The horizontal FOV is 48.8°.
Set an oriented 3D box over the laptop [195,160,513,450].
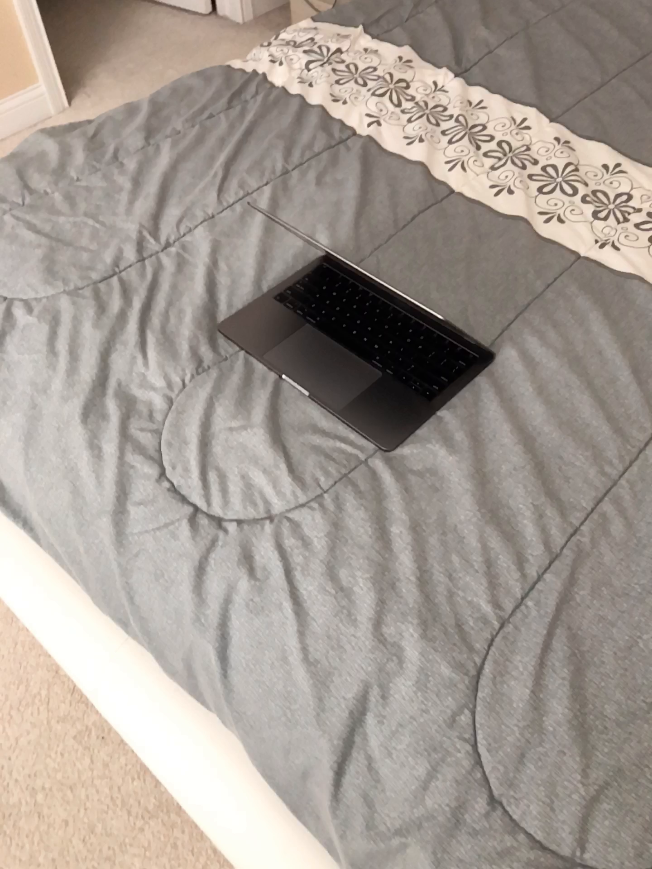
[{"bbox_3d":[0.027,-0.157,0.811,0.279,0.140,0.195,36,60,27],"label":"laptop"}]
